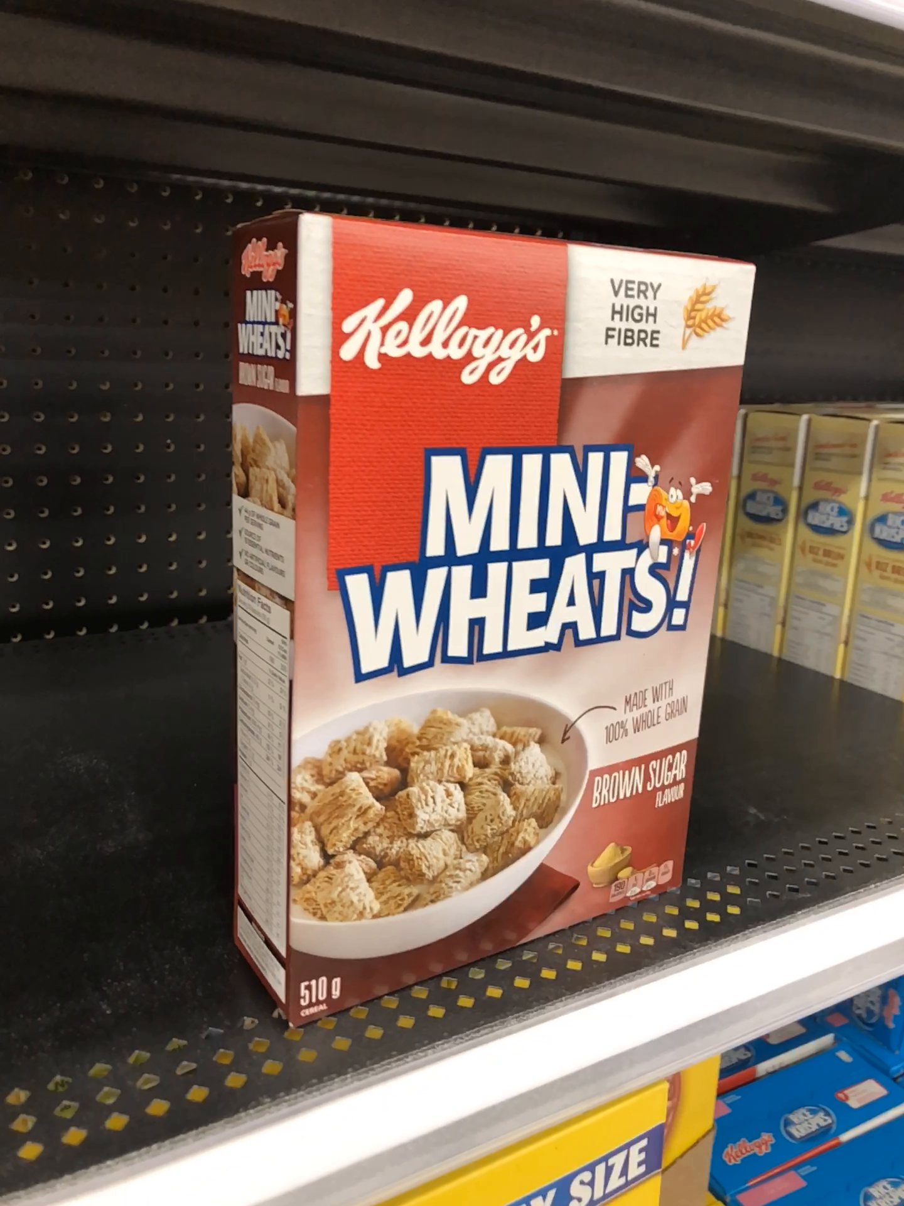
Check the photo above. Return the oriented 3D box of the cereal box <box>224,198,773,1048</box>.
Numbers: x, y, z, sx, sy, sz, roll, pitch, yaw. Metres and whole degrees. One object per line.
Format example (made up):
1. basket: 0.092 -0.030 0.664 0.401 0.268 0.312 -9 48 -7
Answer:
1. cereal box: 0.018 0.003 0.394 0.200 0.279 0.060 -7 17 -33
